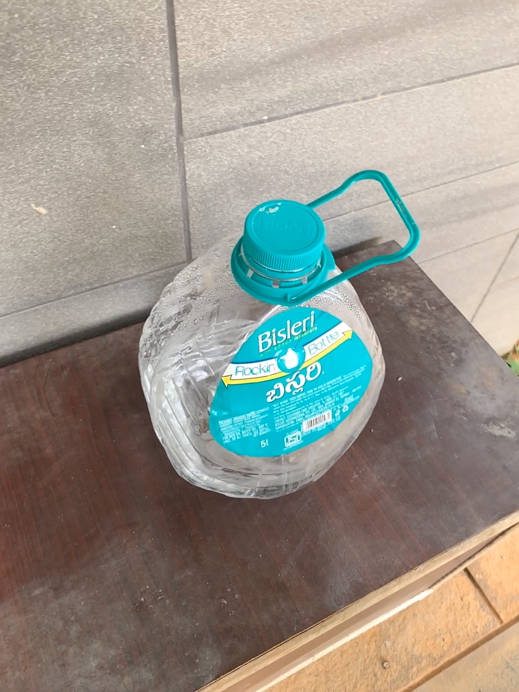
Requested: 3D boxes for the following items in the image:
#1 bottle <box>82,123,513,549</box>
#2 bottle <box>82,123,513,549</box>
[{"bbox_3d":[0.010,-0.003,0.407,0.200,0.219,0.180,-18,56,-16],"label":"bottle"},{"bbox_3d":[0.010,-0.003,0.407,0.200,0.219,0.180,-18,56,-16],"label":"bottle"}]
